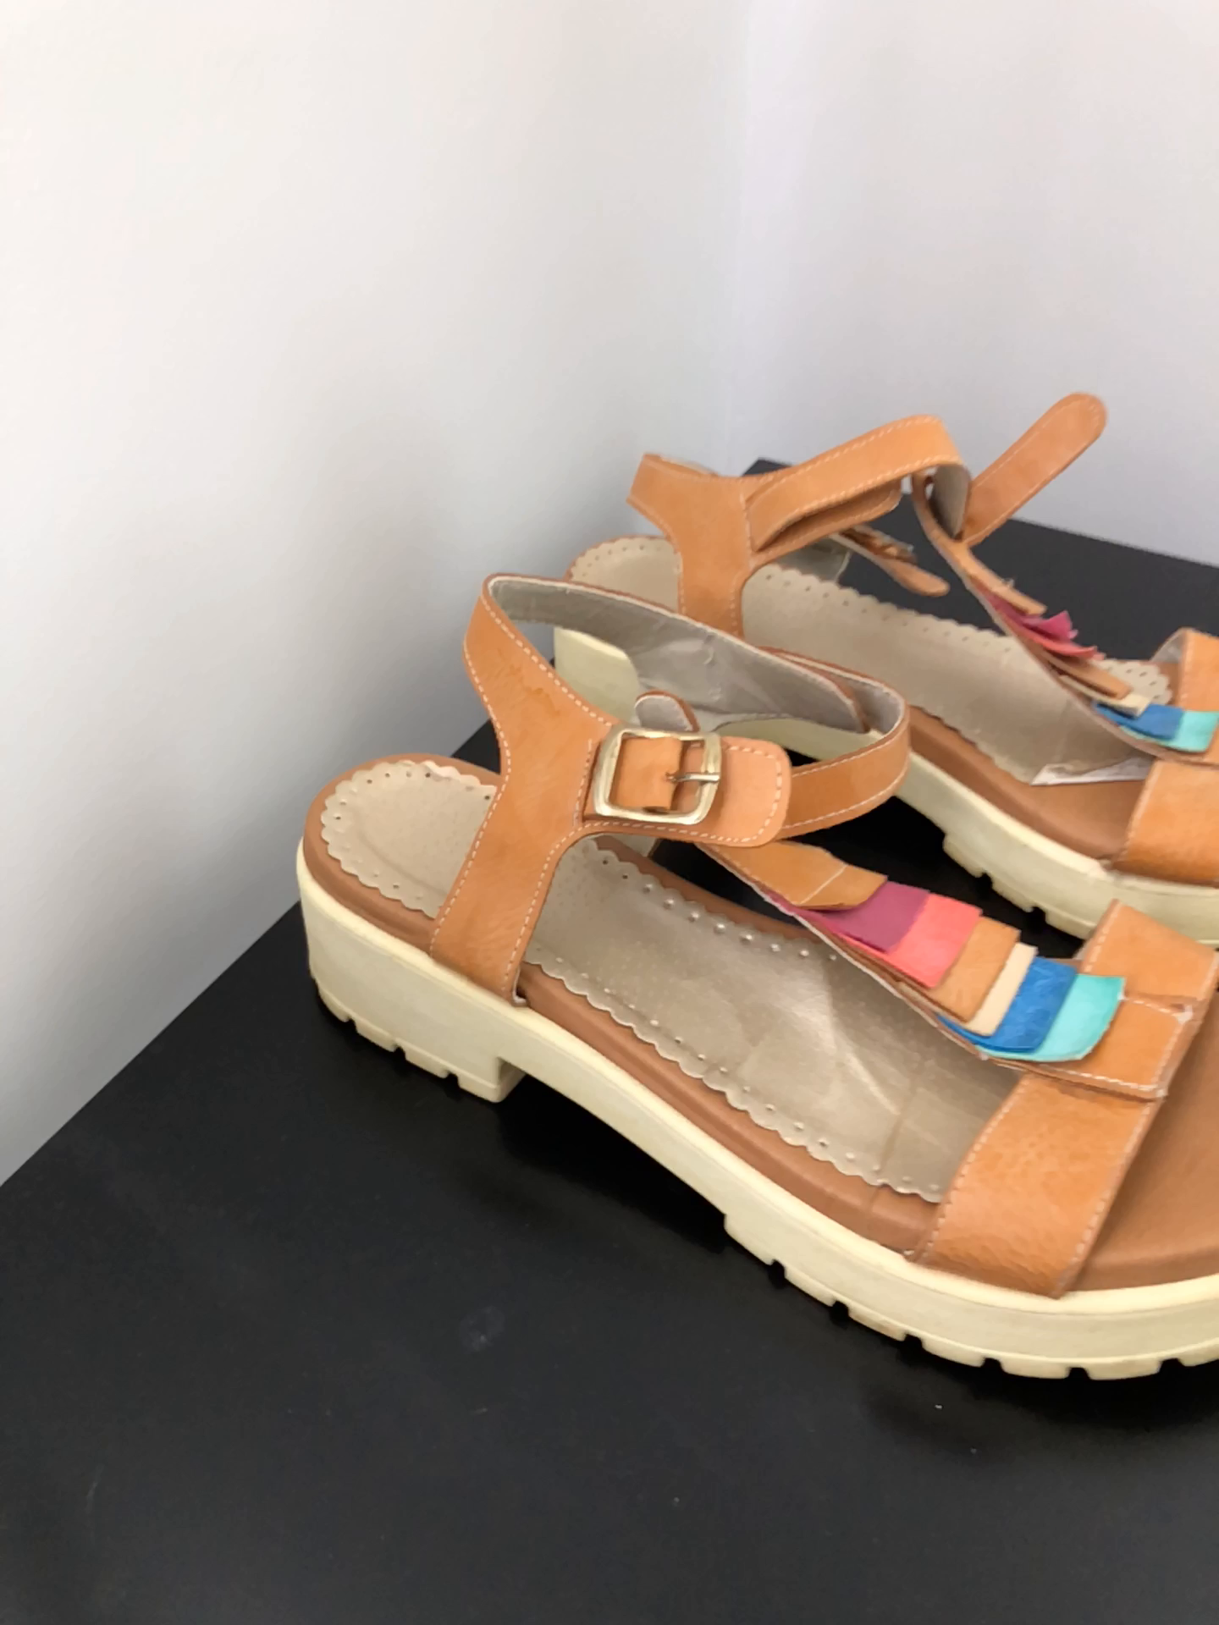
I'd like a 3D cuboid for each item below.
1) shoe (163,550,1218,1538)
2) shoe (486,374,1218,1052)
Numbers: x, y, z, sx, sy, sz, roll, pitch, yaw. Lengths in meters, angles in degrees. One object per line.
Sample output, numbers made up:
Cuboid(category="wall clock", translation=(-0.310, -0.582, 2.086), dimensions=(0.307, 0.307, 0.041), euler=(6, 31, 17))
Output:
Cuboid(category="shoe", translation=(0.037, 0.032, 0.298), dimensions=(0.248, 0.083, 0.100), euler=(21, 44, 22))
Cuboid(category="shoe", translation=(0.098, -0.042, 0.373), dimensions=(0.248, 0.077, 0.100), euler=(21, 44, 22))
